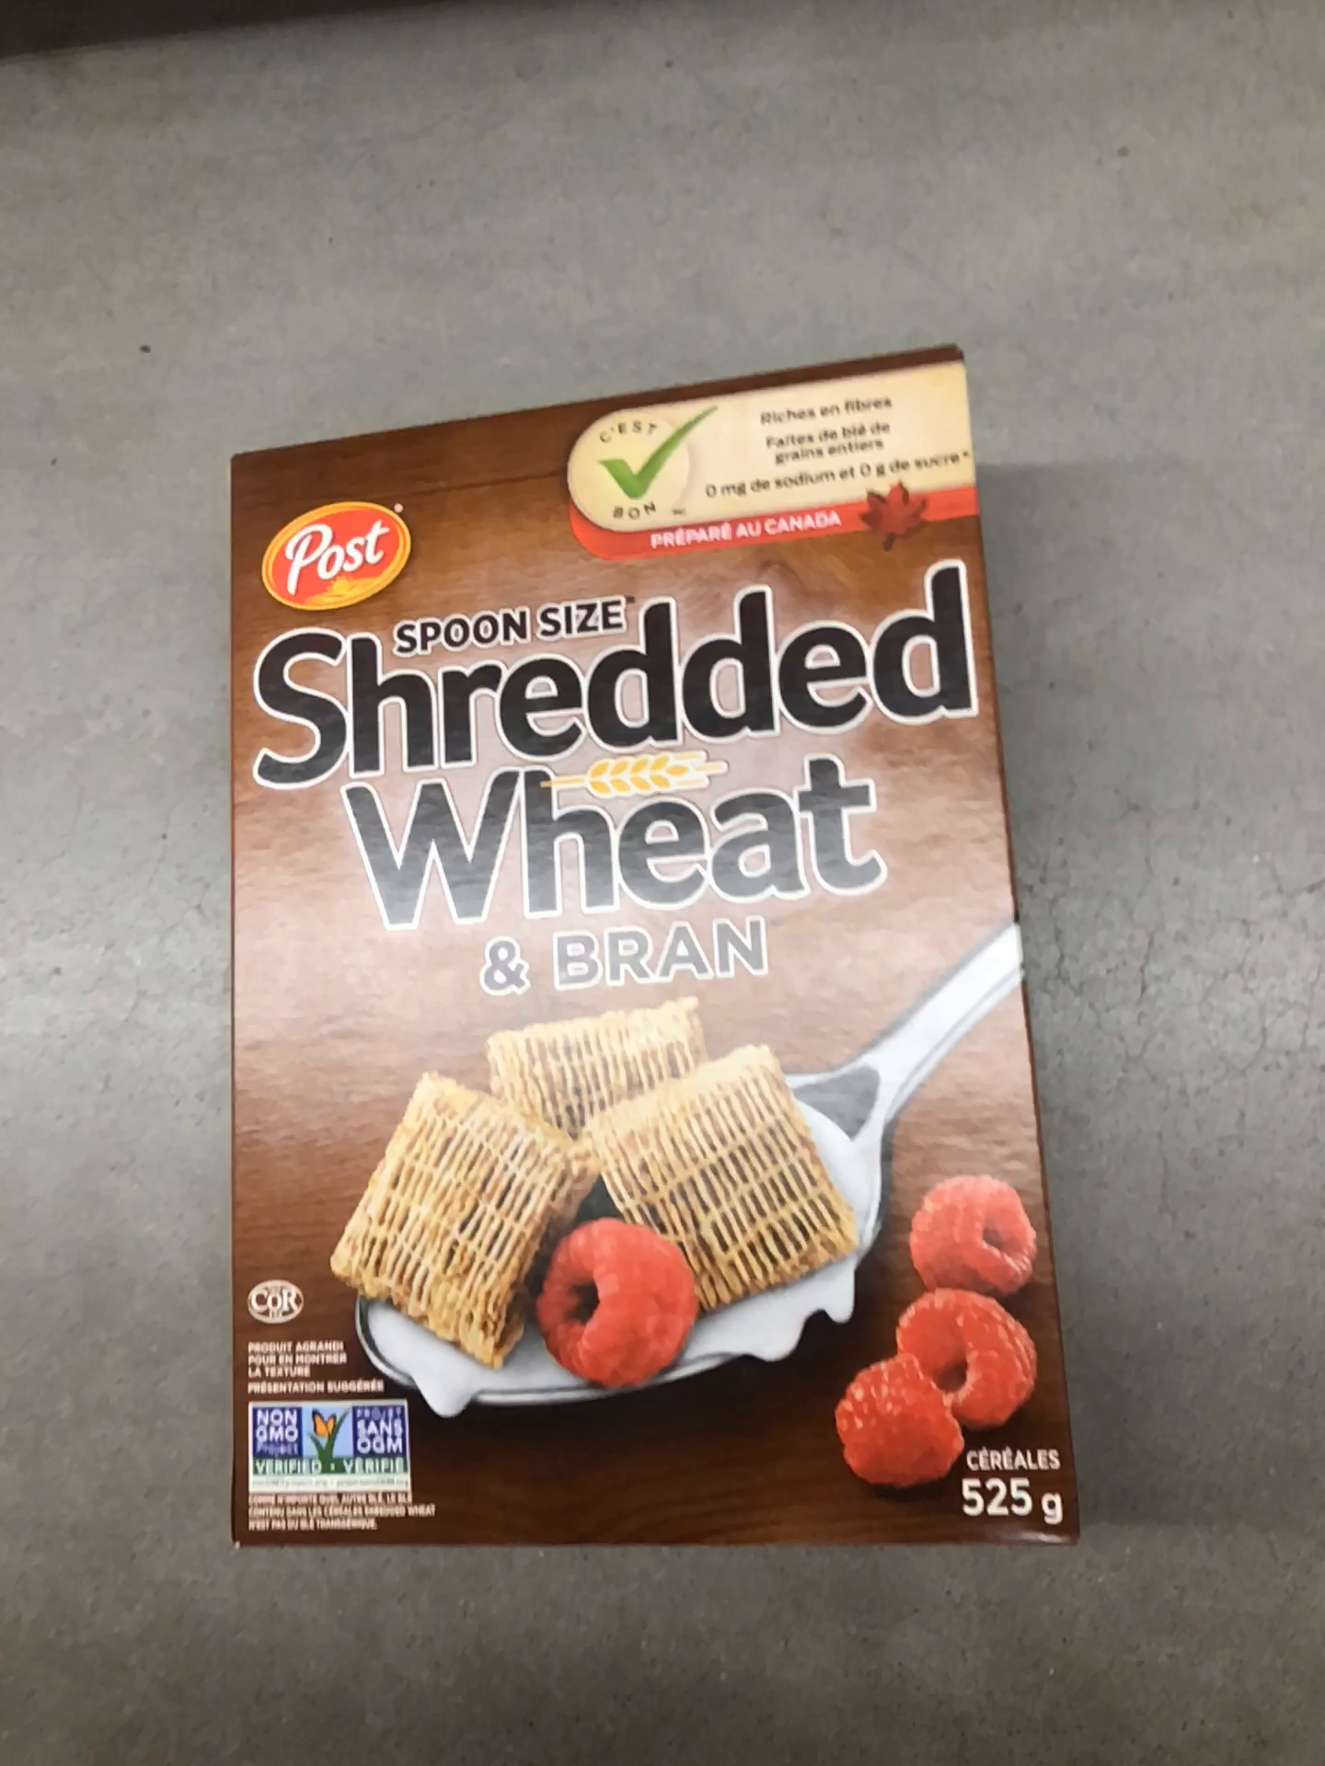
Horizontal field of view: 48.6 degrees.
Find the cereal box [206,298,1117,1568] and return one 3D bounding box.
[{"bbox_3d":[-0.007,0.015,0.374,0.200,0.070,0.280,-5,80,12],"label":"cereal box"}]
